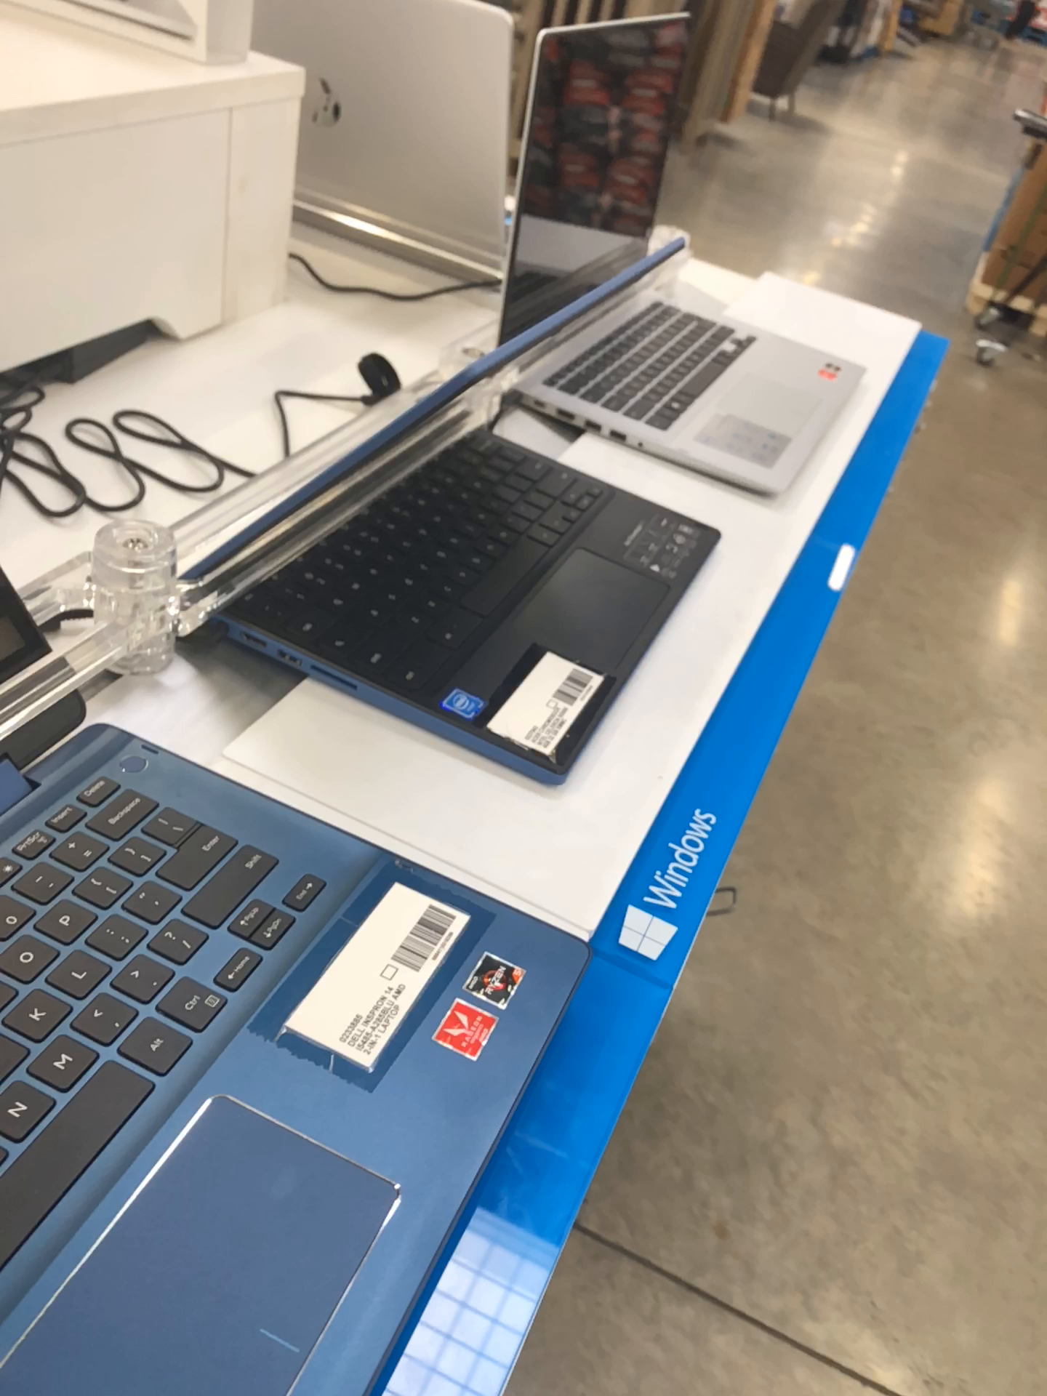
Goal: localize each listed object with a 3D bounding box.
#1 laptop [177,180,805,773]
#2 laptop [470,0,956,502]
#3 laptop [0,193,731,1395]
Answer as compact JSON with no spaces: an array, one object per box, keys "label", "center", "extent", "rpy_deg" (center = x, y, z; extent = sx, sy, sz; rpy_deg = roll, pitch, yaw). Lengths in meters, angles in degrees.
[{"label":"laptop","center":[-0.003,-0.137,0.604],"extent":[0.194,0.159,0.295],"rpy_deg":[24,37,11]},{"label":"laptop","center":[0.156,-0.373,0.909],"extent":[0.255,0.218,0.343],"rpy_deg":[26,39,11]},{"label":"laptop","center":[-0.179,0.036,0.296],"extent":[0.367,0.169,0.306],"rpy_deg":[22,36,11]}]
